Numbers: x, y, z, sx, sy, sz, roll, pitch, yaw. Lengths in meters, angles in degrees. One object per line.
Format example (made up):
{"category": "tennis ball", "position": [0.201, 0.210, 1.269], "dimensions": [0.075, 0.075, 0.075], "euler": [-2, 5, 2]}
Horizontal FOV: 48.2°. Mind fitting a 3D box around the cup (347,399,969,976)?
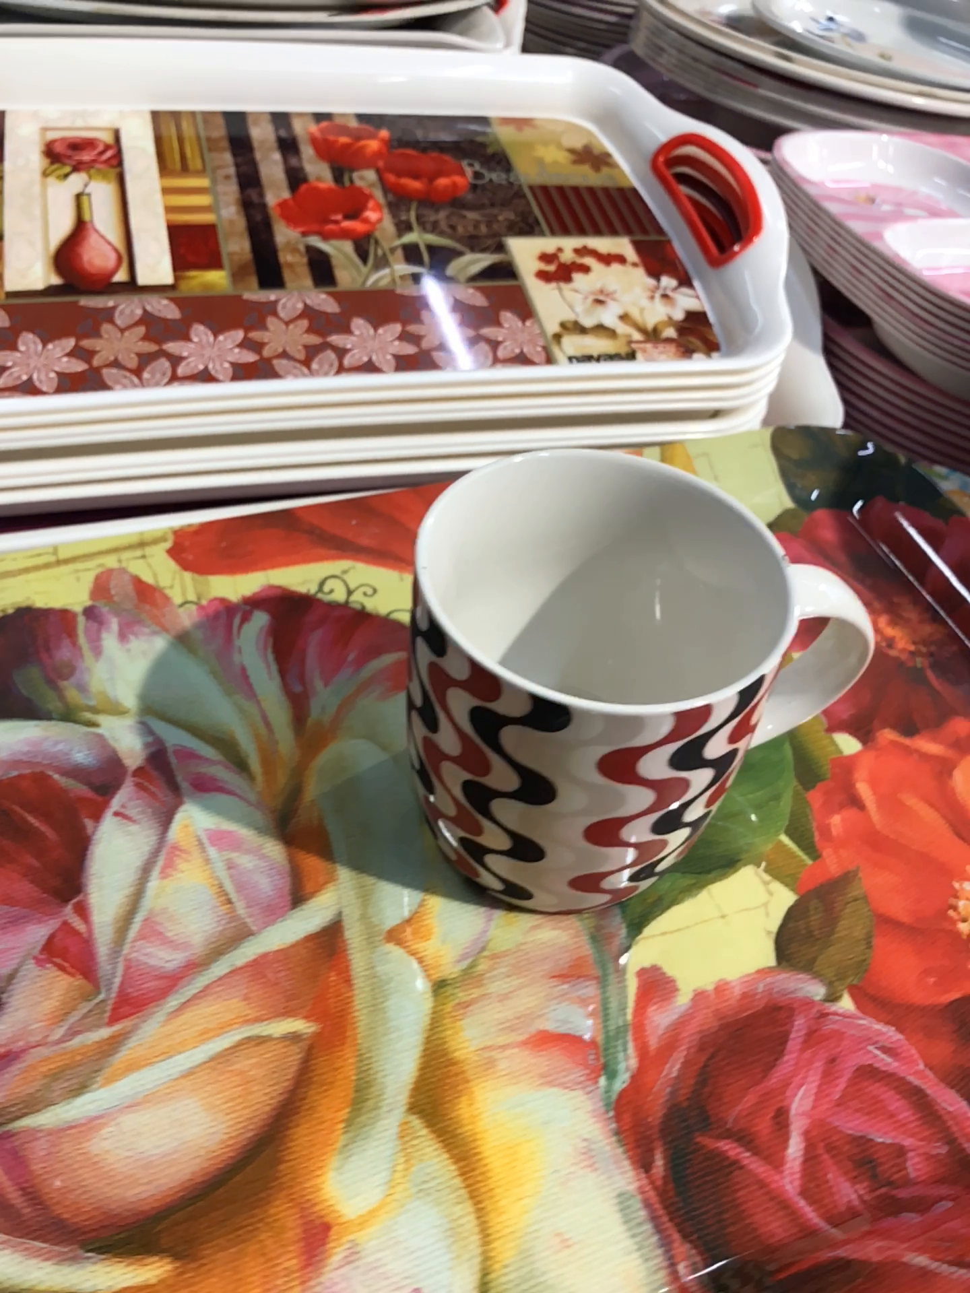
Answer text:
{"category": "cup", "position": [0.042, 0.004, 0.269], "dimensions": [0.130, 0.079, 0.090], "euler": [-11, 46, -19]}
